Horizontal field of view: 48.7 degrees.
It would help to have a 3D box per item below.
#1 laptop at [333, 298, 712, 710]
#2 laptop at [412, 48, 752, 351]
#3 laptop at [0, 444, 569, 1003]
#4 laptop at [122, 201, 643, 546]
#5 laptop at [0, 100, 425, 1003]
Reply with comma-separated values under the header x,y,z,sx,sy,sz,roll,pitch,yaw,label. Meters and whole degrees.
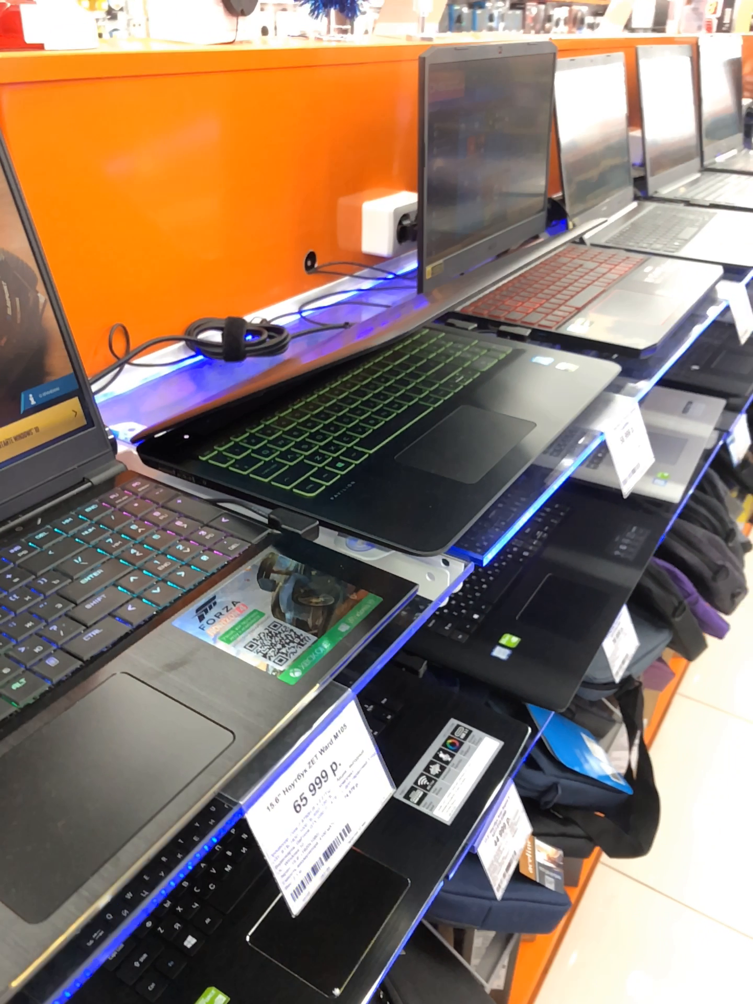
x,y,z,sx,sy,sz,roll,pitch,yaw,label
0.173,-0.035,0.958,0.275,0.255,0.398,17,35,27,laptop
0.257,-0.375,0.962,0.253,0.245,0.411,16,33,22,laptop
-0.065,0.162,0.634,0.262,0.217,0.413,19,33,27,laptop
0.032,-0.133,0.654,0.227,0.118,0.371,19,34,26,laptop
-0.197,-0.024,0.340,0.303,0.219,0.341,19,33,26,laptop
